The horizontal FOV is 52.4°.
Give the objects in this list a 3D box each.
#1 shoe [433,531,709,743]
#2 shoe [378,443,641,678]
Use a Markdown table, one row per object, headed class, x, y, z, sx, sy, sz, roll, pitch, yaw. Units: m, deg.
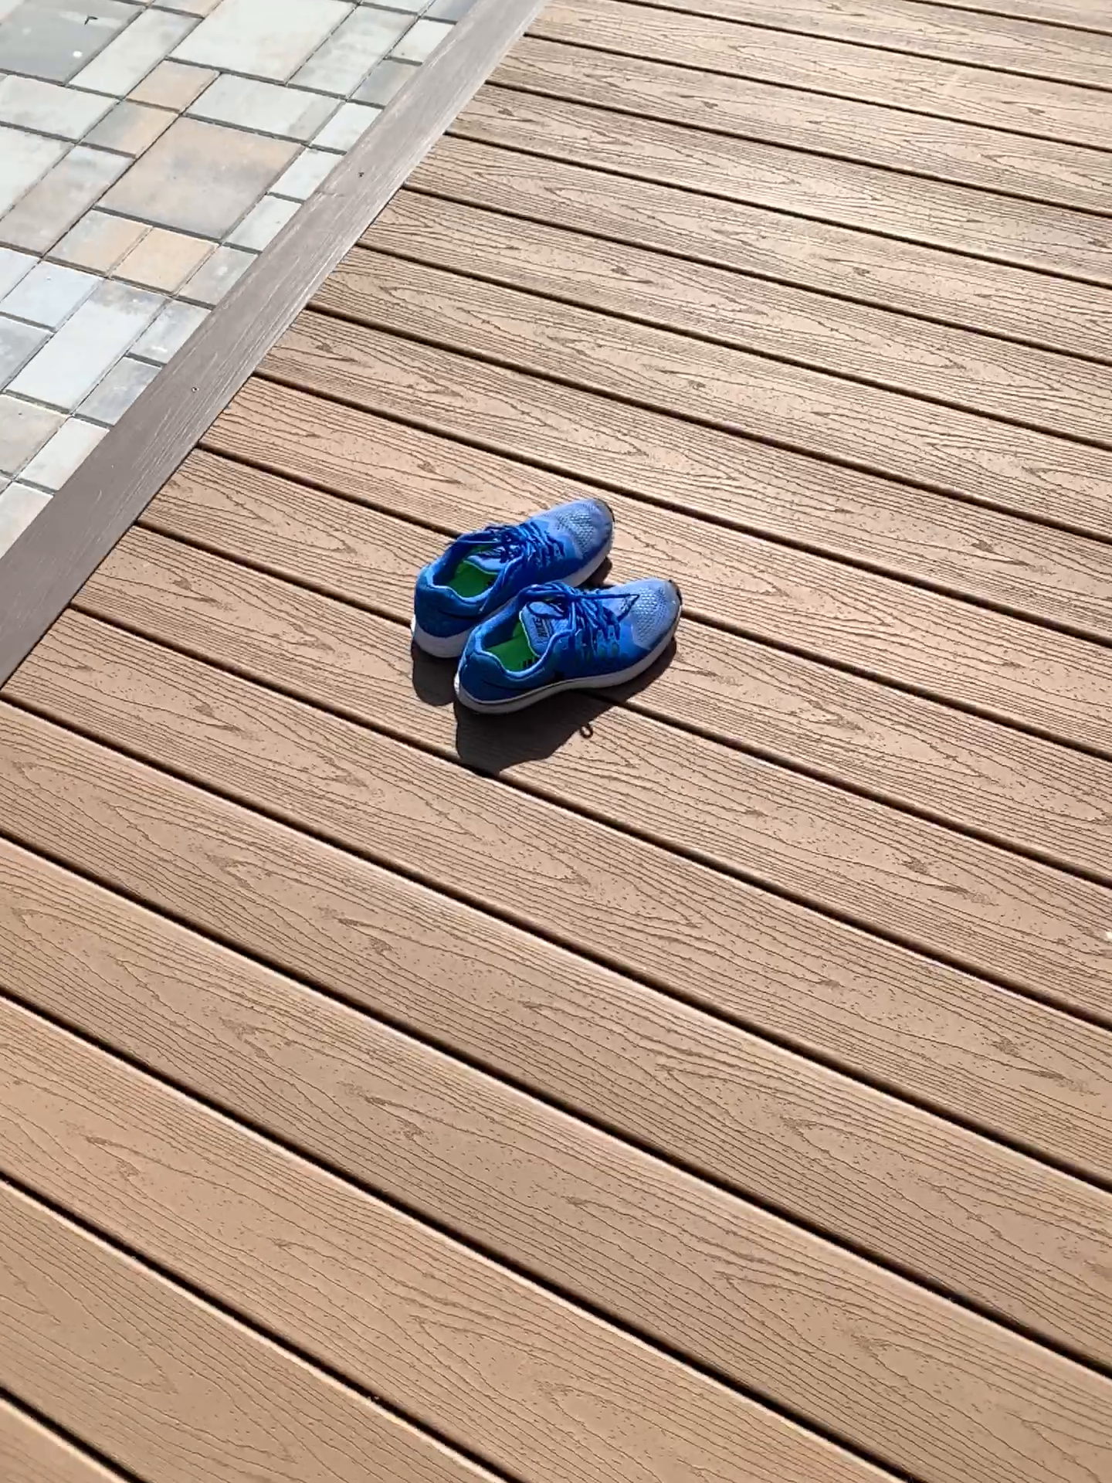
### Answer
| class | x | y | z | sx | sy | sz | roll | pitch | yaw |
| --- | --- | --- | --- | --- | --- | --- | --- | --- | --- |
| shoe | 0.020 | -0.123 | 1.327 | 0.290 | 0.105 | 0.120 | -21 | 60 | -6 |
| shoe | -0.051 | -0.224 | 1.385 | 0.297 | 0.103 | 0.120 | -34 | 63 | -13 |
